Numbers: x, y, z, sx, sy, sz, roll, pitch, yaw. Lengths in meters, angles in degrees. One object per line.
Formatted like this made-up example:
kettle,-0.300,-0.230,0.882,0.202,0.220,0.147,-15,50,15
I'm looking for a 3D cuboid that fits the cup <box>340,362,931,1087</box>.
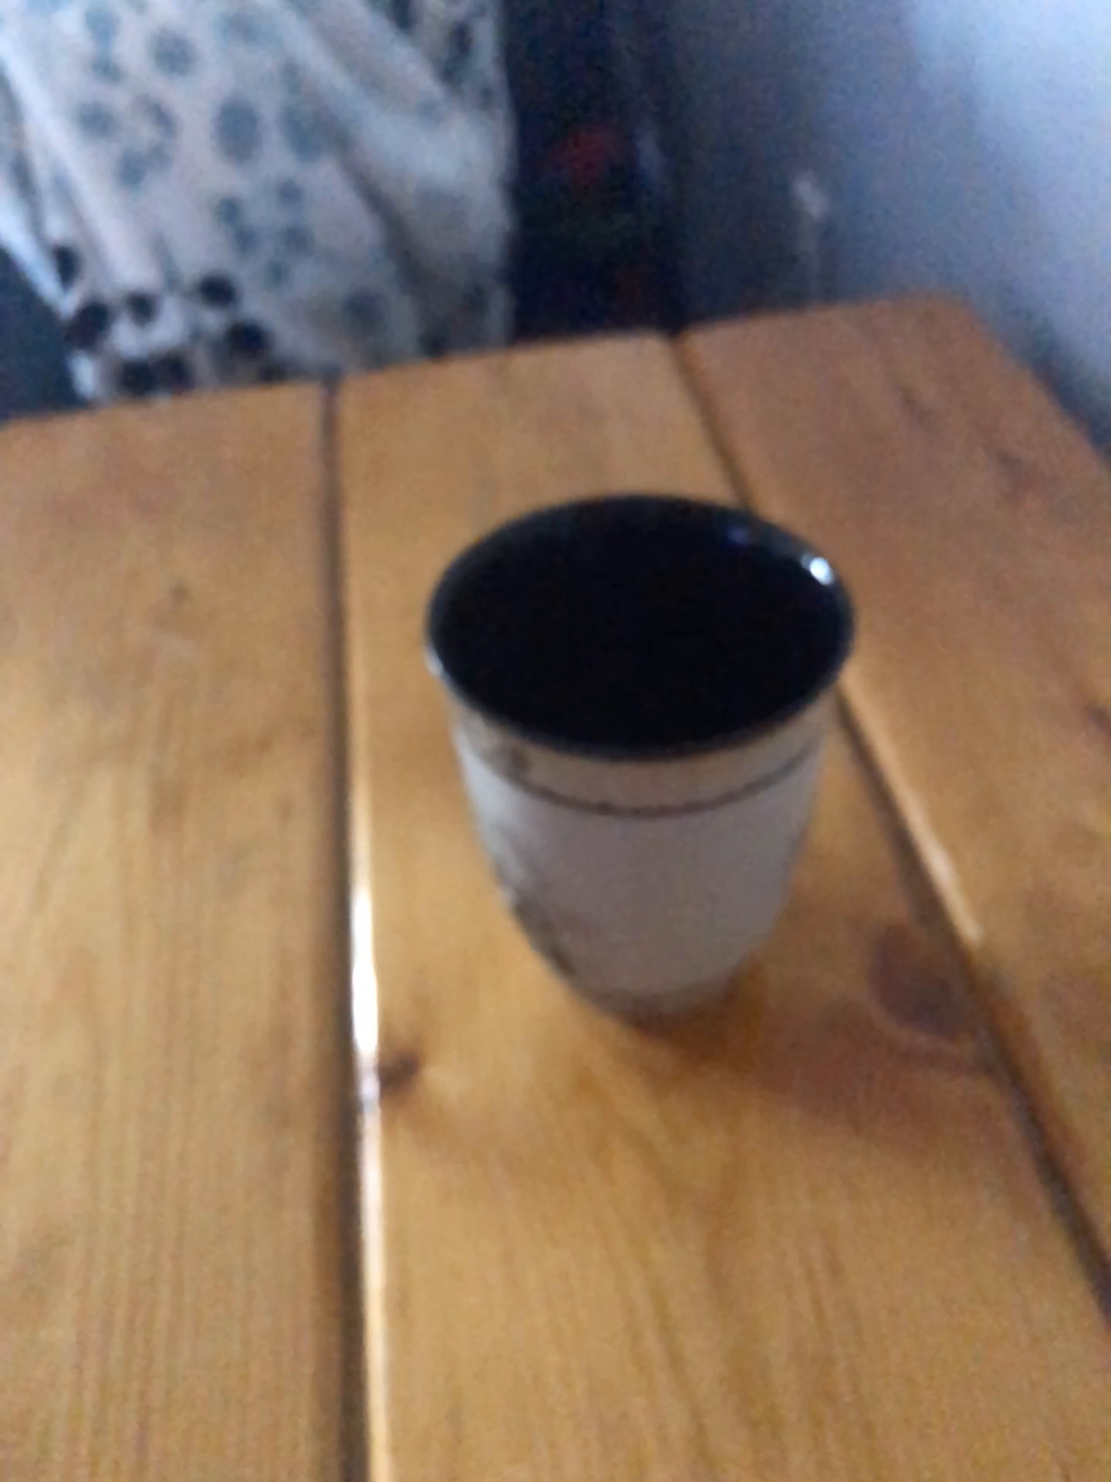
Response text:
cup,0.013,-0.011,0.328,0.100,0.100,0.141,-13,43,-6
